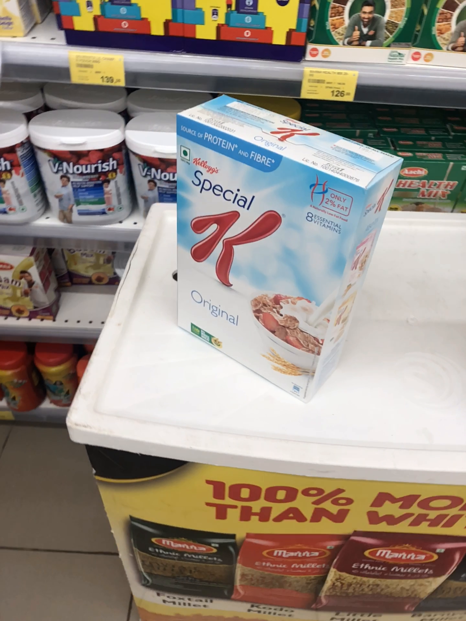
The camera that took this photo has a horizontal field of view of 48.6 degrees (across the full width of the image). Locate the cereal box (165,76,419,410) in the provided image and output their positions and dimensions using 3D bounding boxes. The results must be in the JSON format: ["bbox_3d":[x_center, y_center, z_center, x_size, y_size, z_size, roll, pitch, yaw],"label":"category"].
[{"bbox_3d":[0.033,-0.055,0.492,0.190,0.259,0.070,29,48,23],"label":"cereal box"}]
